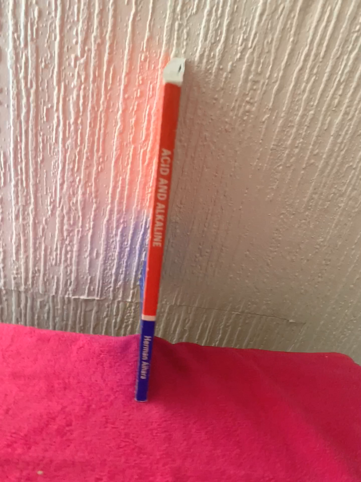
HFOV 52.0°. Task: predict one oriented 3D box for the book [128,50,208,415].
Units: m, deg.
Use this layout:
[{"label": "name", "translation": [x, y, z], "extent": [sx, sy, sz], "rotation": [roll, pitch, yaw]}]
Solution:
[{"label": "book", "translation": [-0.015, -0.012, 0.261], "extent": [0.020, 0.208, 0.151], "rotation": [5, 30, -6]}]
